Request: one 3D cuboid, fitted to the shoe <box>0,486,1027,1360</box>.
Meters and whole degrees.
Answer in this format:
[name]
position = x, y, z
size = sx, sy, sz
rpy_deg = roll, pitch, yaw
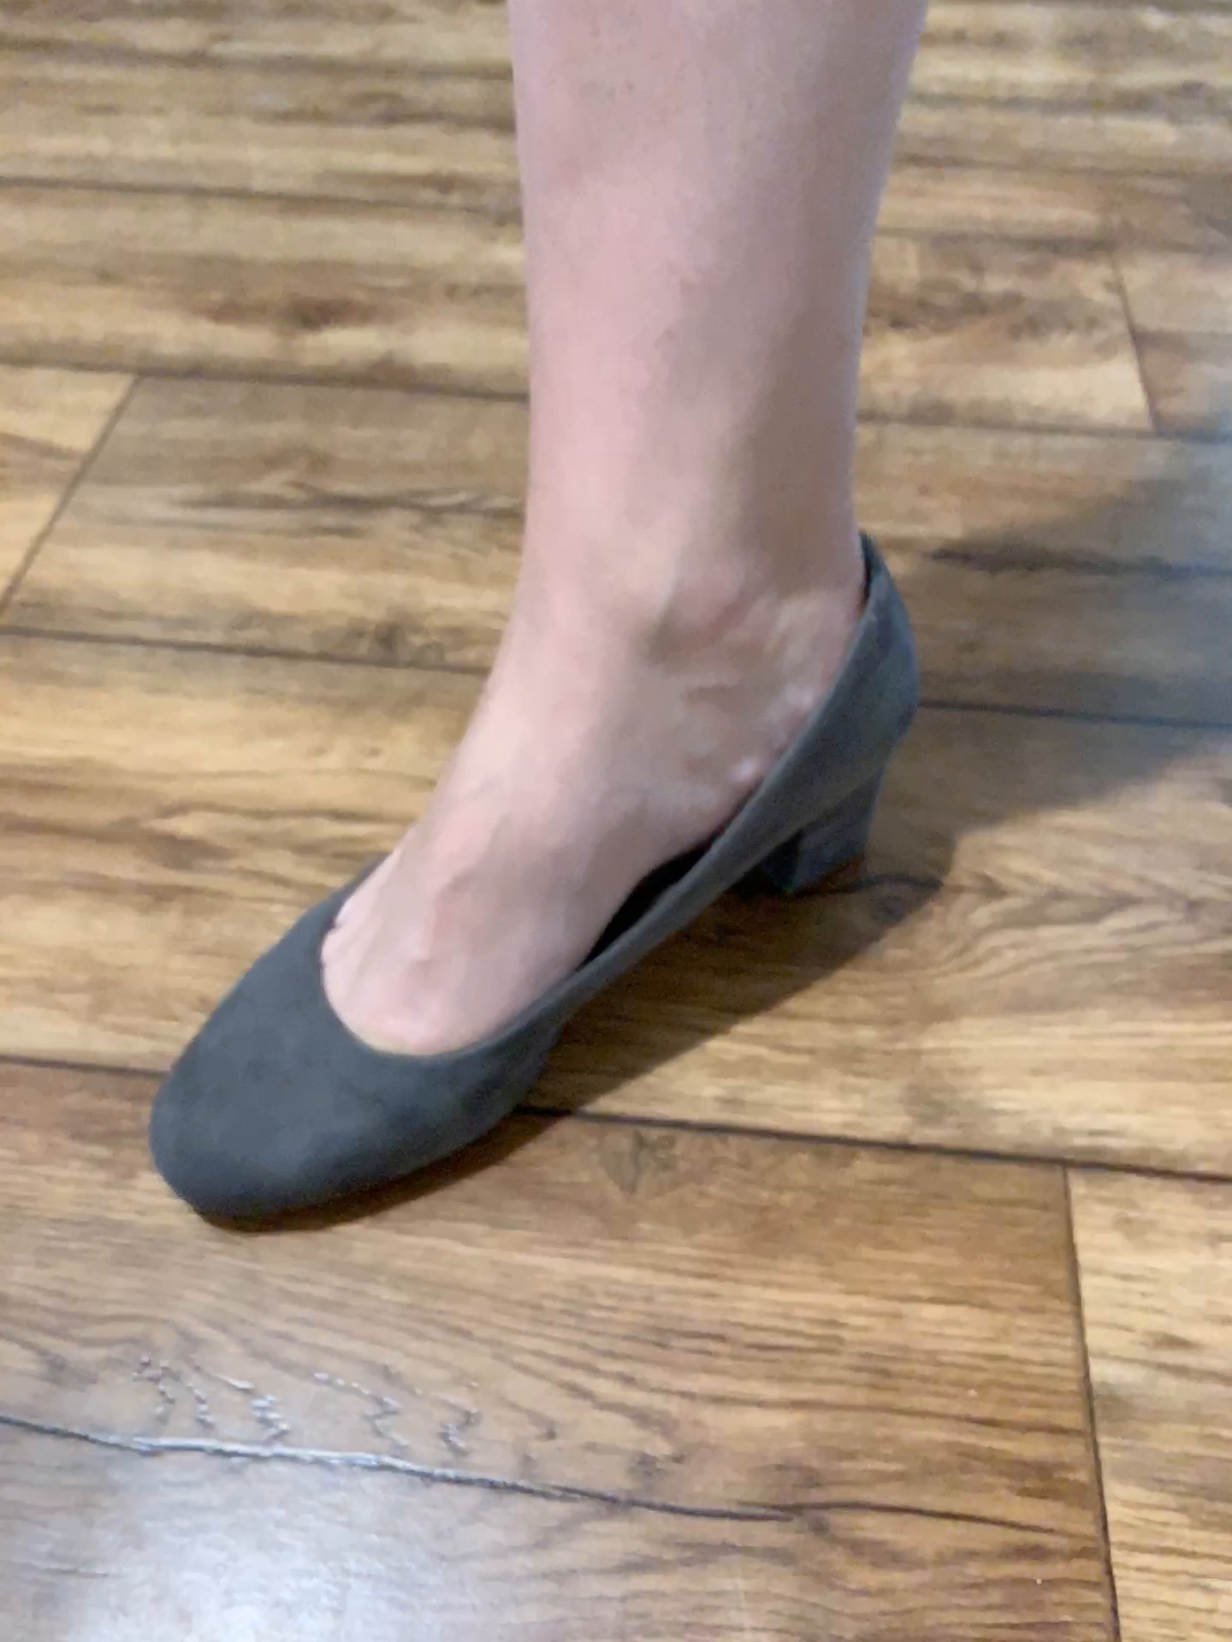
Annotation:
[shoe]
position = -0.016, 0.019, 0.322
size = 0.210, 0.110, 0.084
rpy_deg = -27, 54, -21
